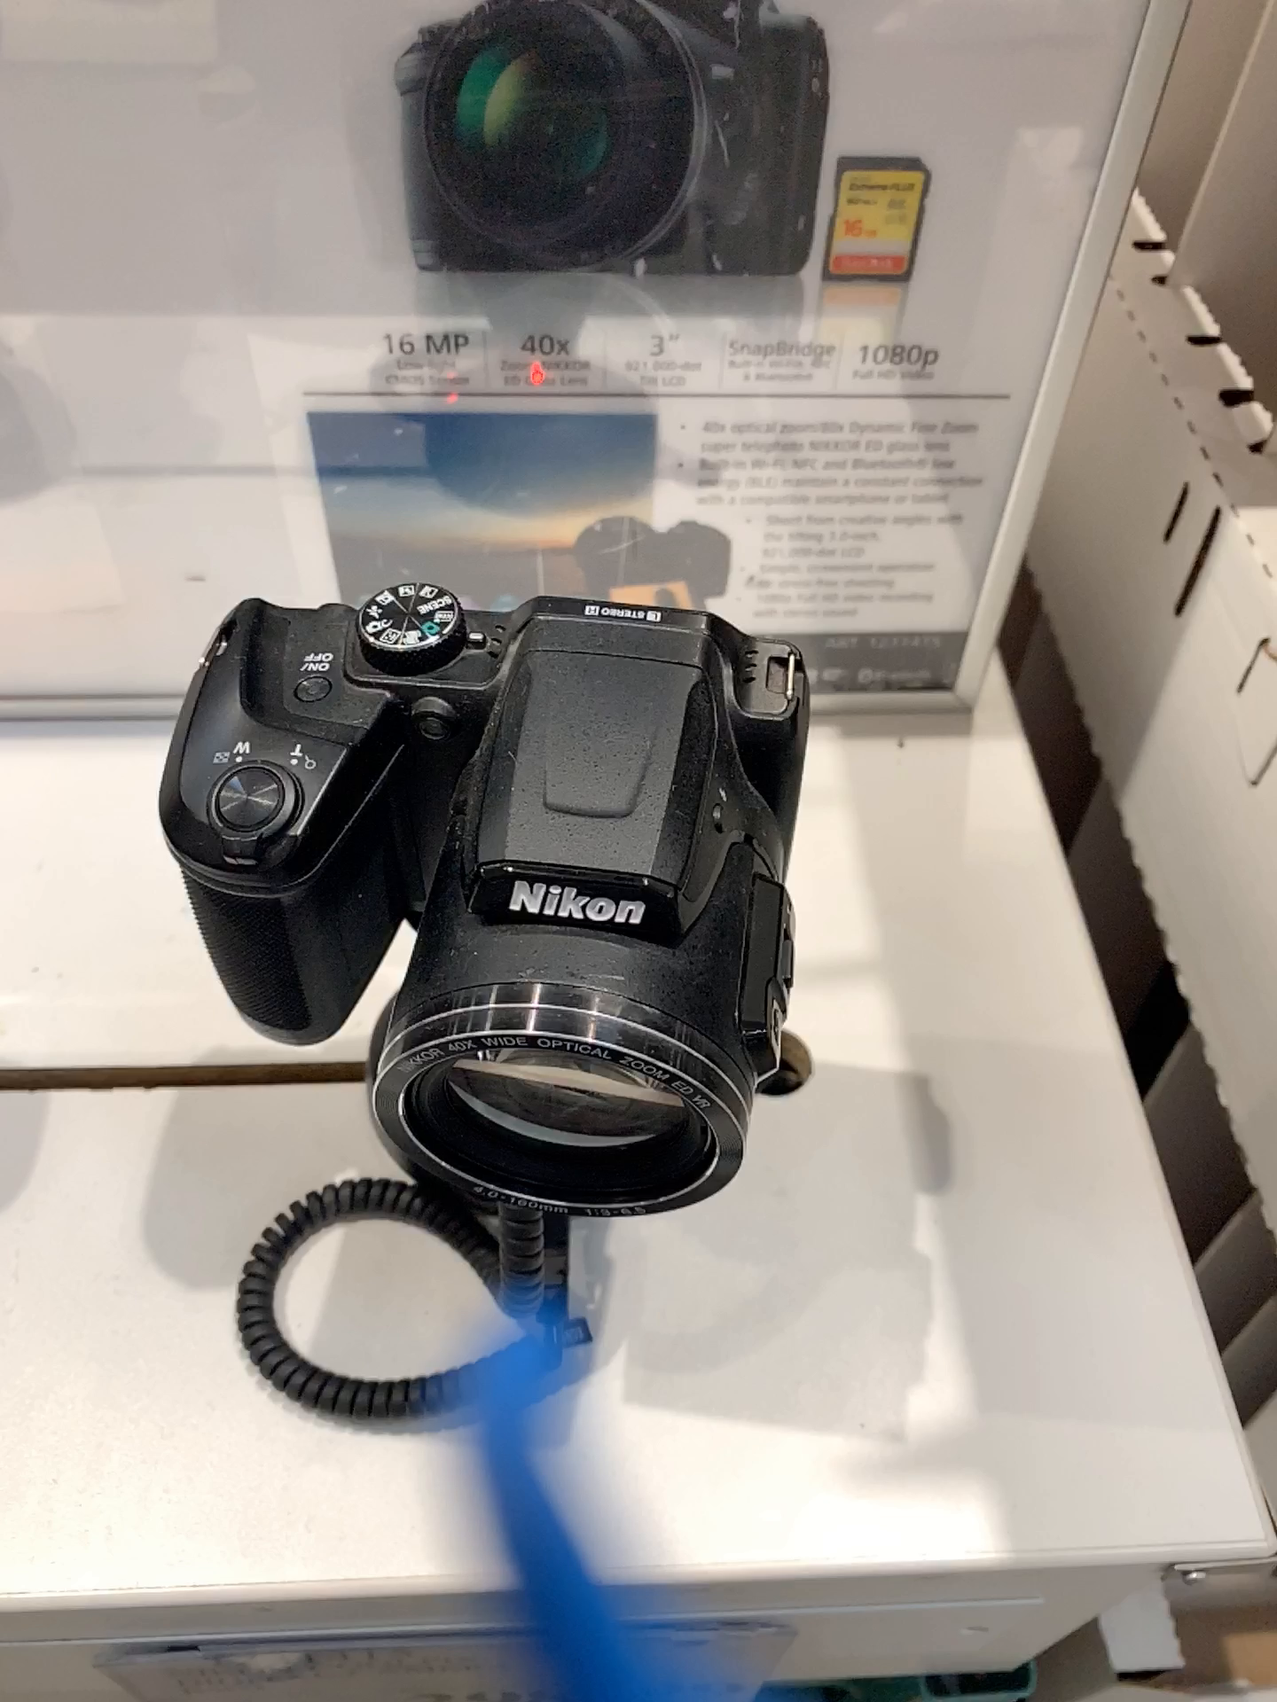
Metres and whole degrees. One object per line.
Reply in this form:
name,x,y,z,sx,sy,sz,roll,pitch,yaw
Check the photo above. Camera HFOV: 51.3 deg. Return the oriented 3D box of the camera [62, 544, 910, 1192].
camera,-0.020,0.006,0.226,0.110,0.089,0.060,3,50,1
